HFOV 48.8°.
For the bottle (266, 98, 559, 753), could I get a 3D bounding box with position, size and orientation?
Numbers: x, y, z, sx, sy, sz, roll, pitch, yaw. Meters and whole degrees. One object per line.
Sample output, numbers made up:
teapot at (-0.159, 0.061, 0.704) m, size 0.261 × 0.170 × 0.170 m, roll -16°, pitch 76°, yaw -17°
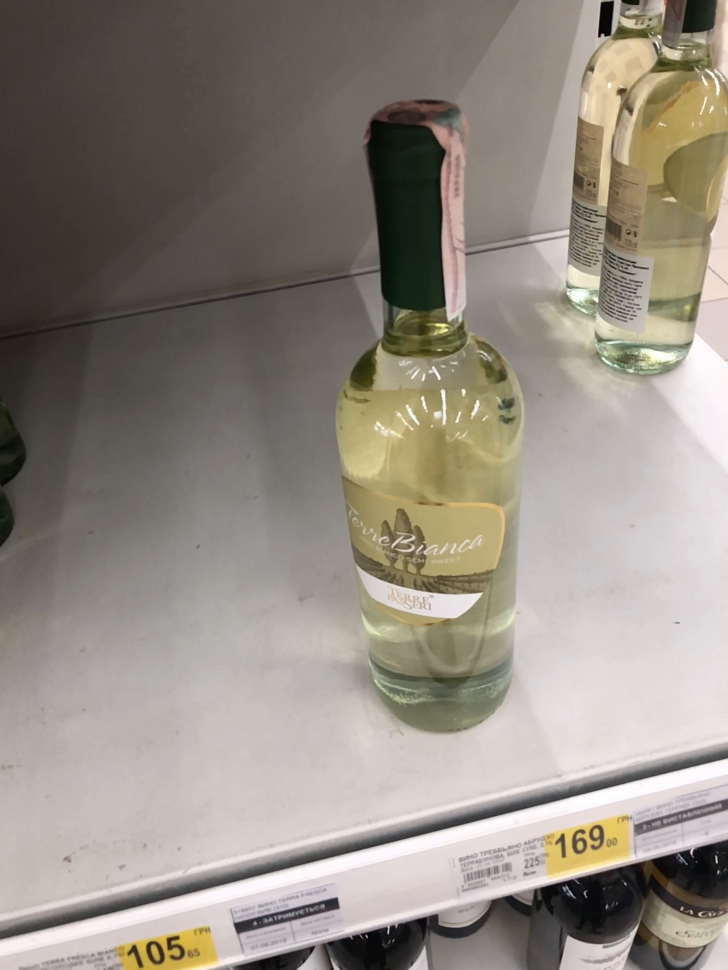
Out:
bottle at (0.028, -0.001, 0.321) m, size 0.070 × 0.269 × 0.070 m, roll -4°, pitch 42°, yaw 3°
